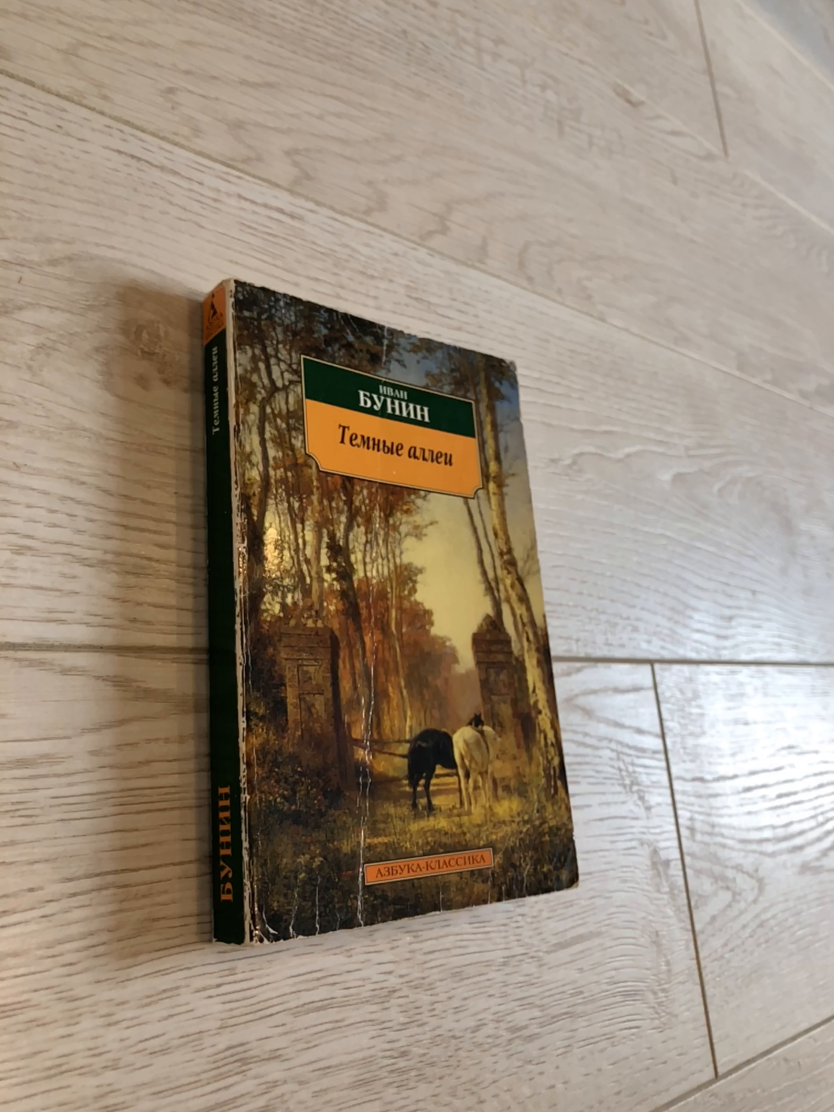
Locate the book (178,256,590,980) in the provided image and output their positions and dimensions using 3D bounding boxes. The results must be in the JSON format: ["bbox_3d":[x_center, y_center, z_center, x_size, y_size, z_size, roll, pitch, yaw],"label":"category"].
[{"bbox_3d":[-0.009,0.014,0.266,0.113,0.024,0.177,7,71,-38],"label":"book"}]
